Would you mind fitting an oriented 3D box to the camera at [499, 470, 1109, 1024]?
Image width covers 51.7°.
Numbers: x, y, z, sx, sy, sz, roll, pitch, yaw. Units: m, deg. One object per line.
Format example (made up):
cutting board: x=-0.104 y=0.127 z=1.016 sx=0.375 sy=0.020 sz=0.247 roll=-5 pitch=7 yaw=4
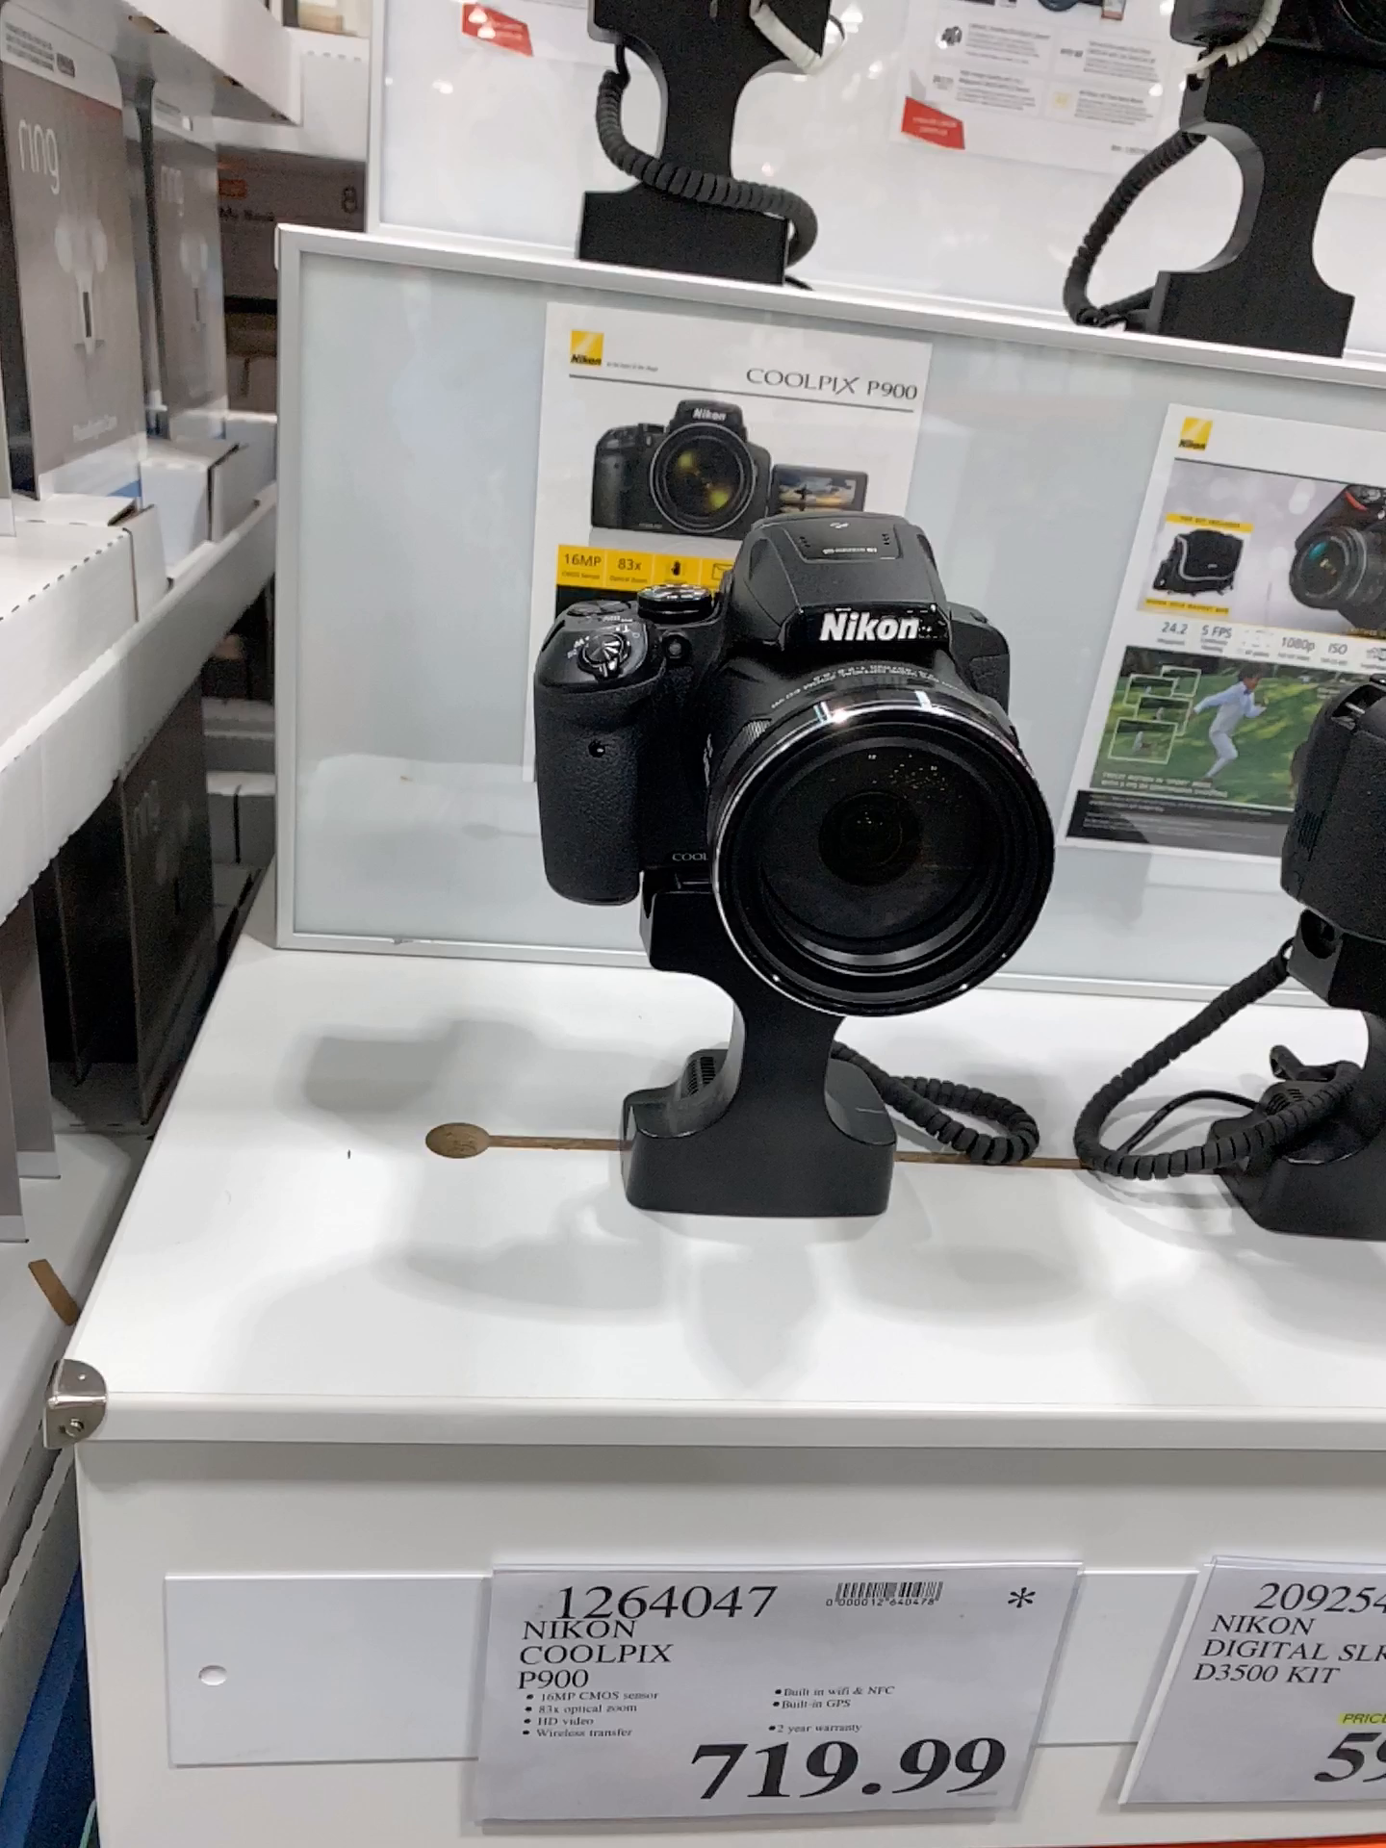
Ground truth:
camera: x=0.019 y=-0.057 z=0.393 sx=0.130 sy=0.109 sz=0.151 roll=1 pitch=24 yaw=-4
